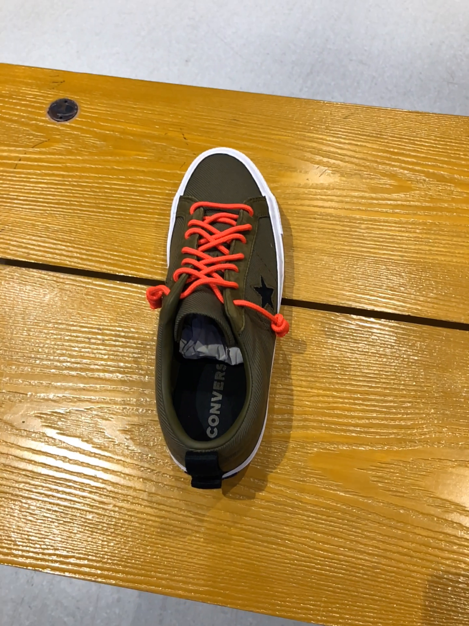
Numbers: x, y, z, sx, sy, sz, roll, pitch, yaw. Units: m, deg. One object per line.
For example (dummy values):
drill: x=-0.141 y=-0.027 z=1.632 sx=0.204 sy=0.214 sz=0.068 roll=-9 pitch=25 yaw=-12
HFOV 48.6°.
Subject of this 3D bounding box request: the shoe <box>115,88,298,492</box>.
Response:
shoe: x=-0.010 y=-0.023 z=0.397 sx=0.105 sy=0.097 sz=0.293 roll=2 pitch=67 yaw=2
